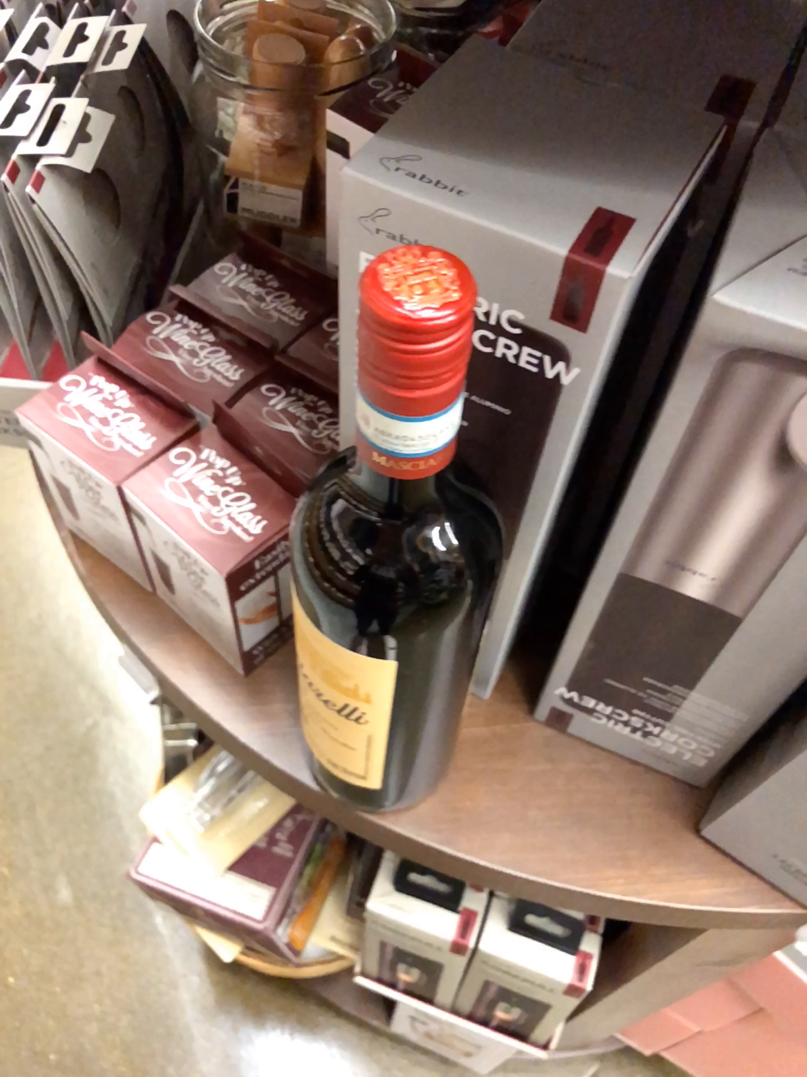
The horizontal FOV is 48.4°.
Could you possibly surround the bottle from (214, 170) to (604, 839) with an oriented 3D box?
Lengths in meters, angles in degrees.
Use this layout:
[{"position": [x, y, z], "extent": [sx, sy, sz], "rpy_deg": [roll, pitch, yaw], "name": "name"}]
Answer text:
[{"position": [-0.006, 0.021, 0.326], "extent": [0.074, 0.284, 0.072], "rpy_deg": [1, 55, -2], "name": "bottle"}]
